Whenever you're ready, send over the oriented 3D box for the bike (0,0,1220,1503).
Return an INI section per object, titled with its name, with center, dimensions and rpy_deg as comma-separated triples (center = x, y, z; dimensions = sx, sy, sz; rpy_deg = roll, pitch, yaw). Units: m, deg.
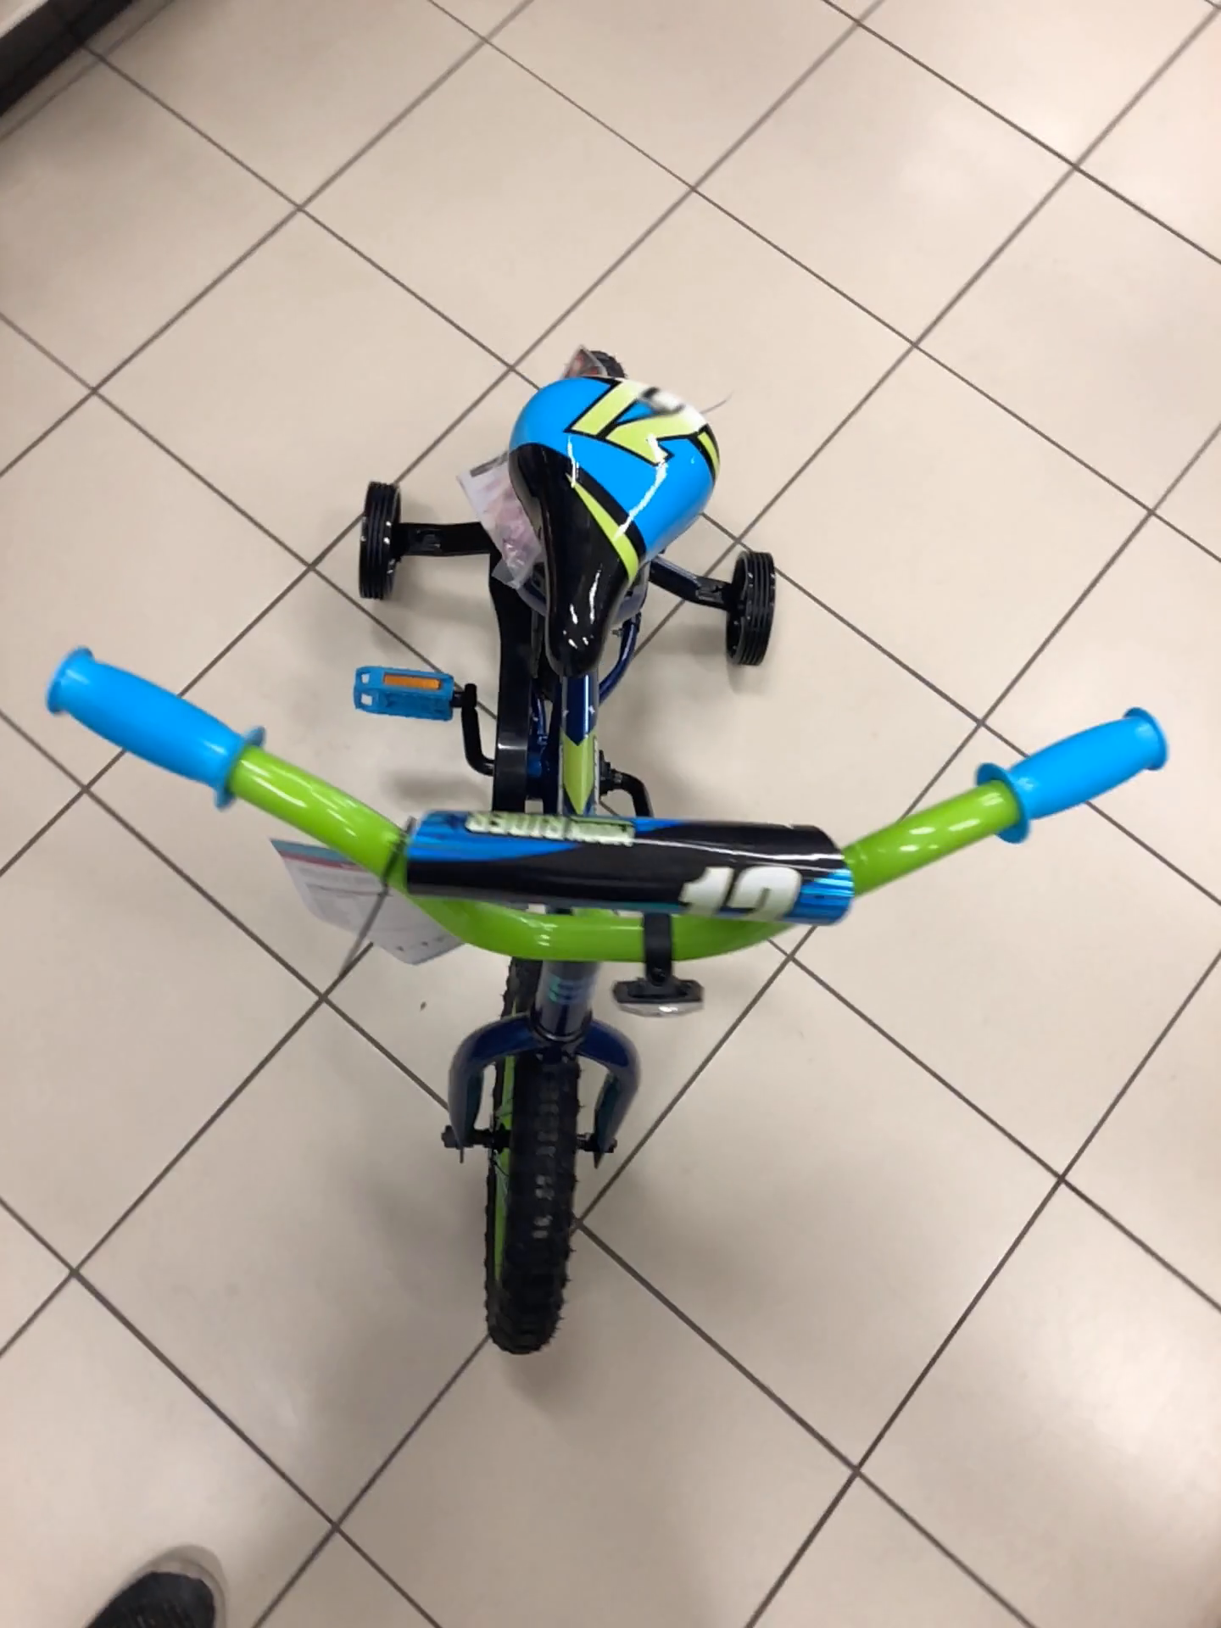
[bike]
center = -0.030, -0.062, 0.896
dimensions = 0.548, 0.678, 0.795
rpy_deg = 4, 74, -1
